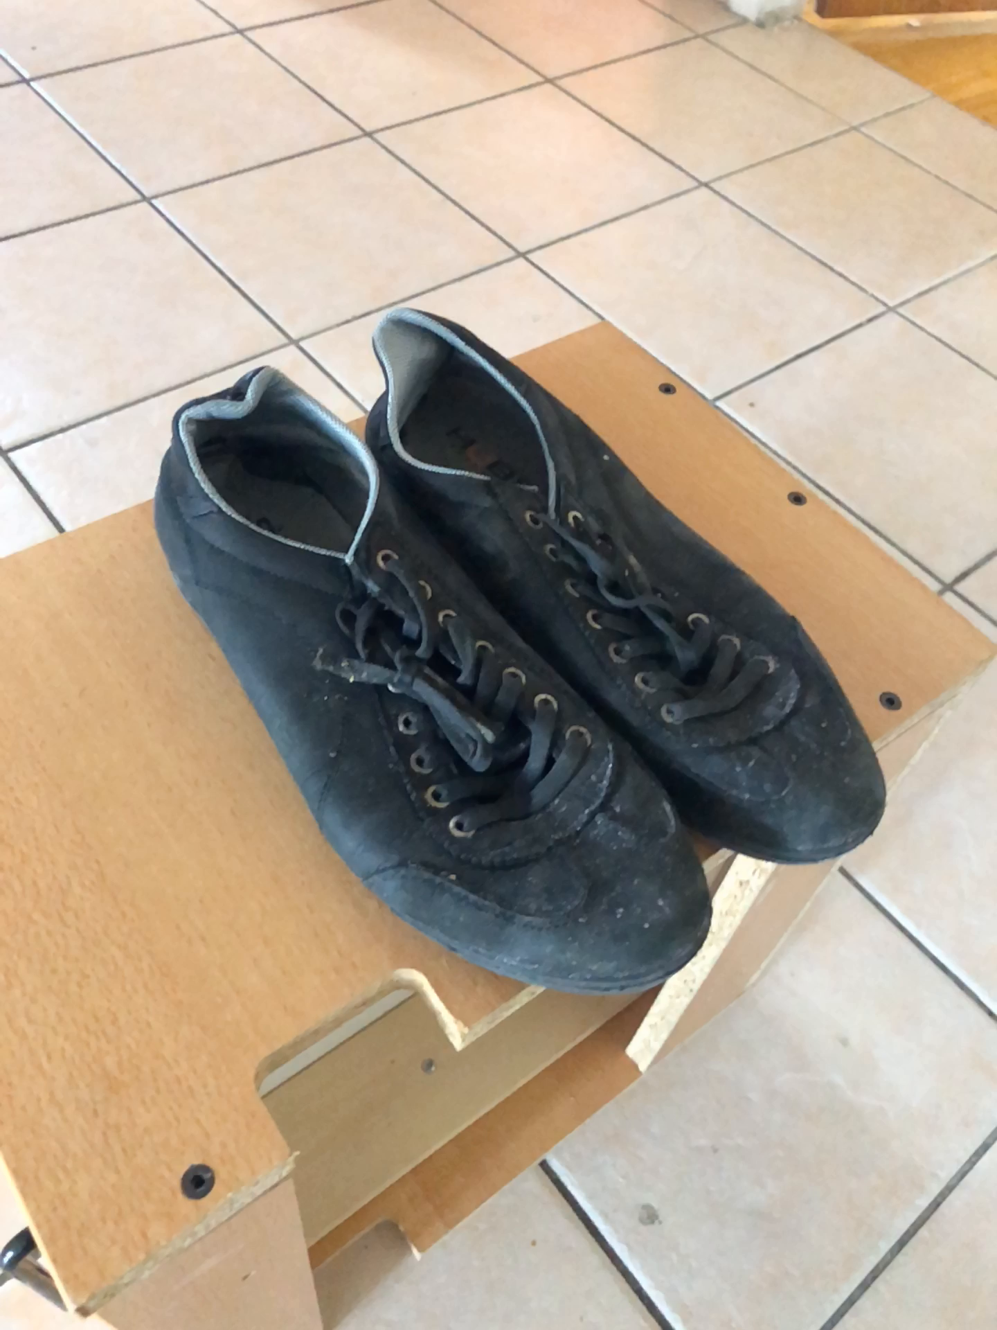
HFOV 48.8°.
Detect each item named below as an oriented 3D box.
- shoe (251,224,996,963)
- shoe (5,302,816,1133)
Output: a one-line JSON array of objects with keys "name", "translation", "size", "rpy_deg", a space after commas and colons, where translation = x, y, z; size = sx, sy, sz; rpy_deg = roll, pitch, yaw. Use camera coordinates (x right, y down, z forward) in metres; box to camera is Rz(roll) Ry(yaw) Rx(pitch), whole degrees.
[{"name": "shoe", "translation": [0.036, -0.047, 0.445], "size": [0.110, 0.089, 0.311], "rpy_deg": [-31, 62, -27]}, {"name": "shoe", "translation": [-0.048, -0.001, 0.403], "size": [0.110, 0.089, 0.301], "rpy_deg": [-31, 62, -27]}]
